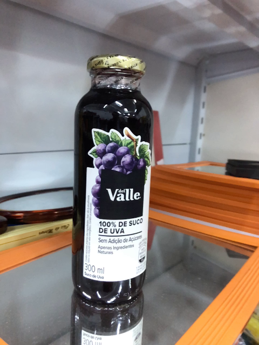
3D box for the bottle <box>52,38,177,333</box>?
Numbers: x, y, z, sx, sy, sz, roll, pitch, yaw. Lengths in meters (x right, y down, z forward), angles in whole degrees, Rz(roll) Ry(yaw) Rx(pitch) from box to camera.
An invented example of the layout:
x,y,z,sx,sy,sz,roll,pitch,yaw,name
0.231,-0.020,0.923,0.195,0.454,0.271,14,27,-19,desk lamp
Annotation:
x,y,z,sx,sy,sz,roll,pitch,yaw,name
-0.018,0.009,0.224,0.070,0.189,0.060,0,9,-24,bottle
